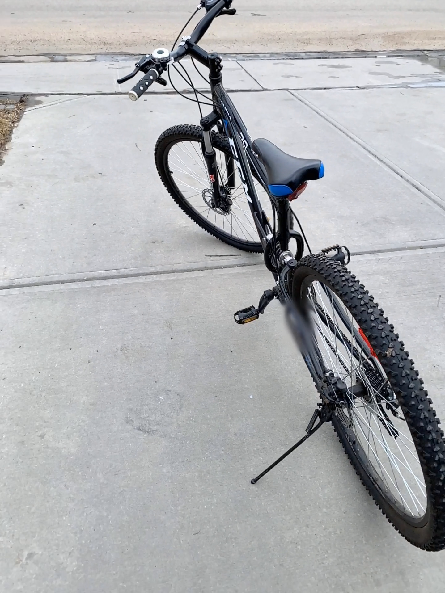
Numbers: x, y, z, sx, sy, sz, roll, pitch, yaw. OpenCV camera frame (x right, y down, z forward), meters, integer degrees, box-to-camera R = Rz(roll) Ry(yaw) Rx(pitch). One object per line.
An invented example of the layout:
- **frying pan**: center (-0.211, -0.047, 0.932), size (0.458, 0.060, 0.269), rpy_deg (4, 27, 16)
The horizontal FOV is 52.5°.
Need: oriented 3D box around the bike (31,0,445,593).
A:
- **bike**: center (0.009, -0.187, 1.365), size (0.628, 1.173, 1.797), rpy_deg (-15, 44, -19)
